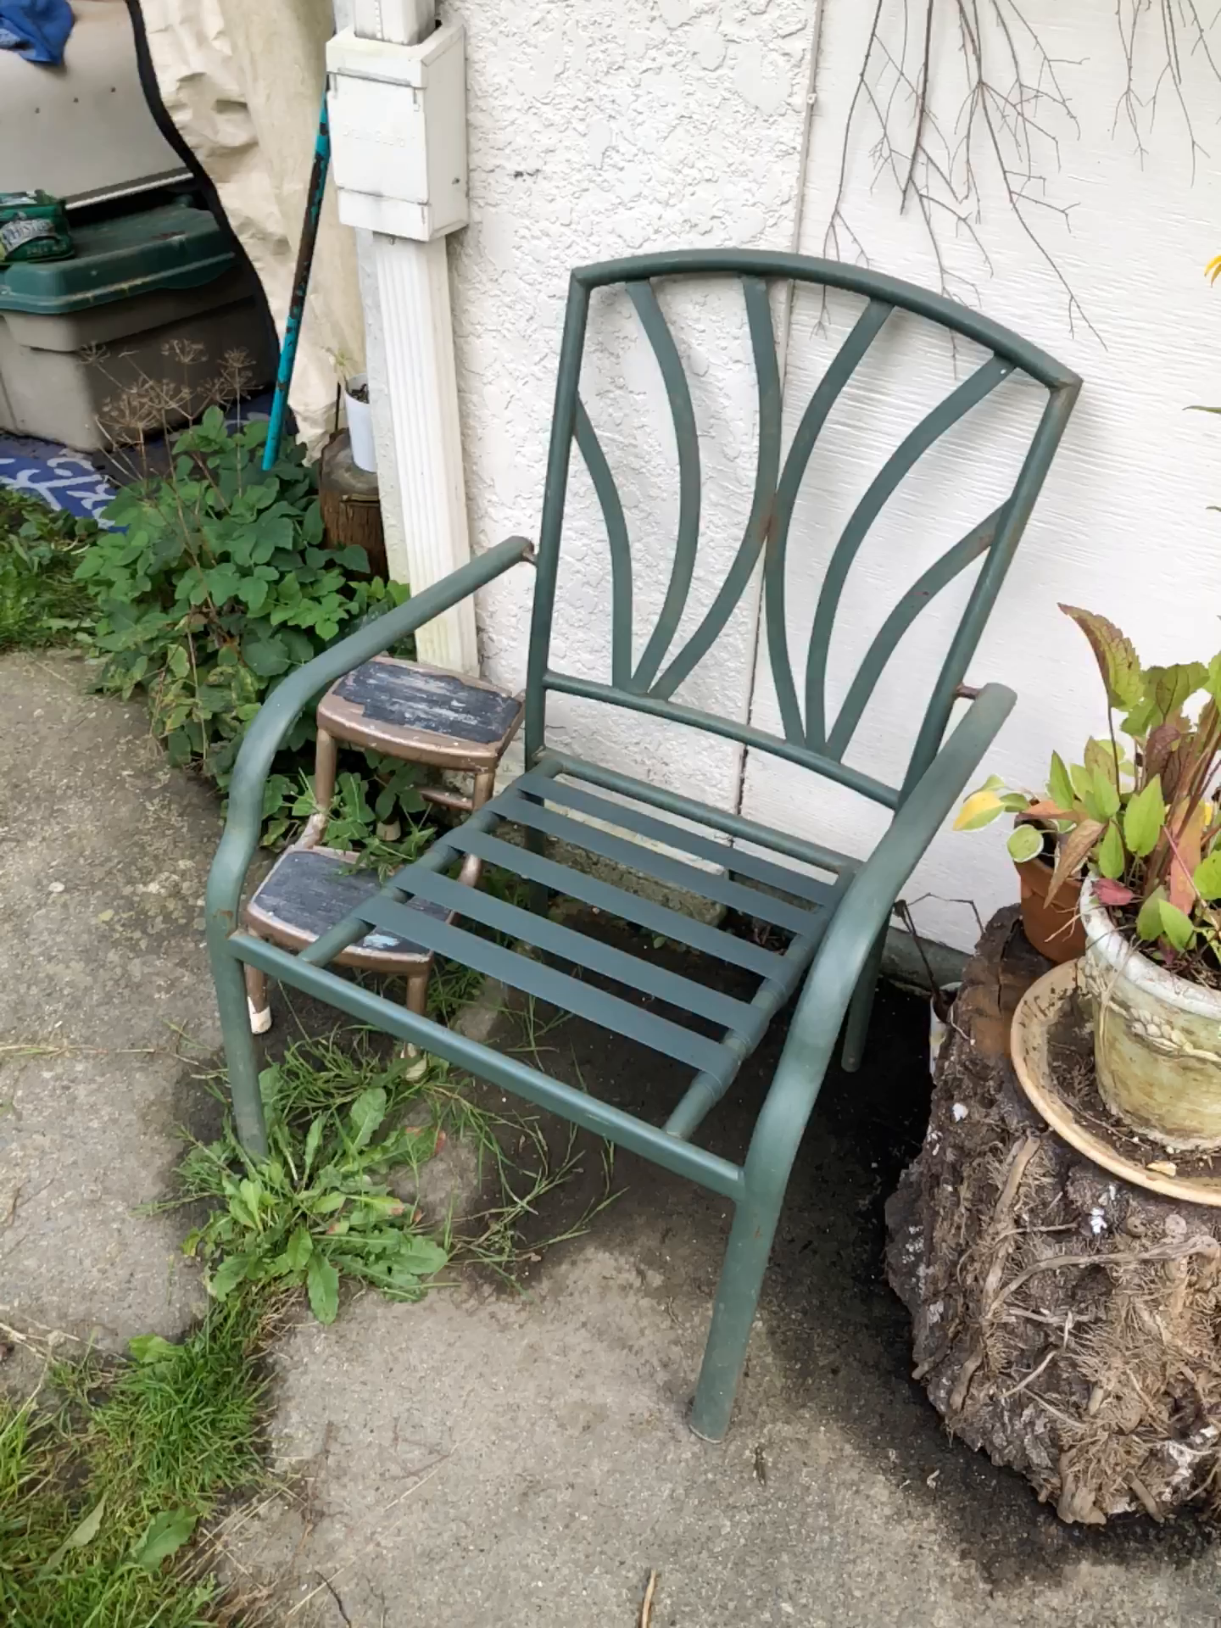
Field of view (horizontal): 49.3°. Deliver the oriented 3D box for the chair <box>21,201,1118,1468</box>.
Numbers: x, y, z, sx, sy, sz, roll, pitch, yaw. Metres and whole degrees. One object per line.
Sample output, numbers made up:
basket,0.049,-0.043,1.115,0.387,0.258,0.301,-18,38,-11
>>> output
chair,0.007,-0.023,1.337,0.621,0.904,0.683,19,40,22
